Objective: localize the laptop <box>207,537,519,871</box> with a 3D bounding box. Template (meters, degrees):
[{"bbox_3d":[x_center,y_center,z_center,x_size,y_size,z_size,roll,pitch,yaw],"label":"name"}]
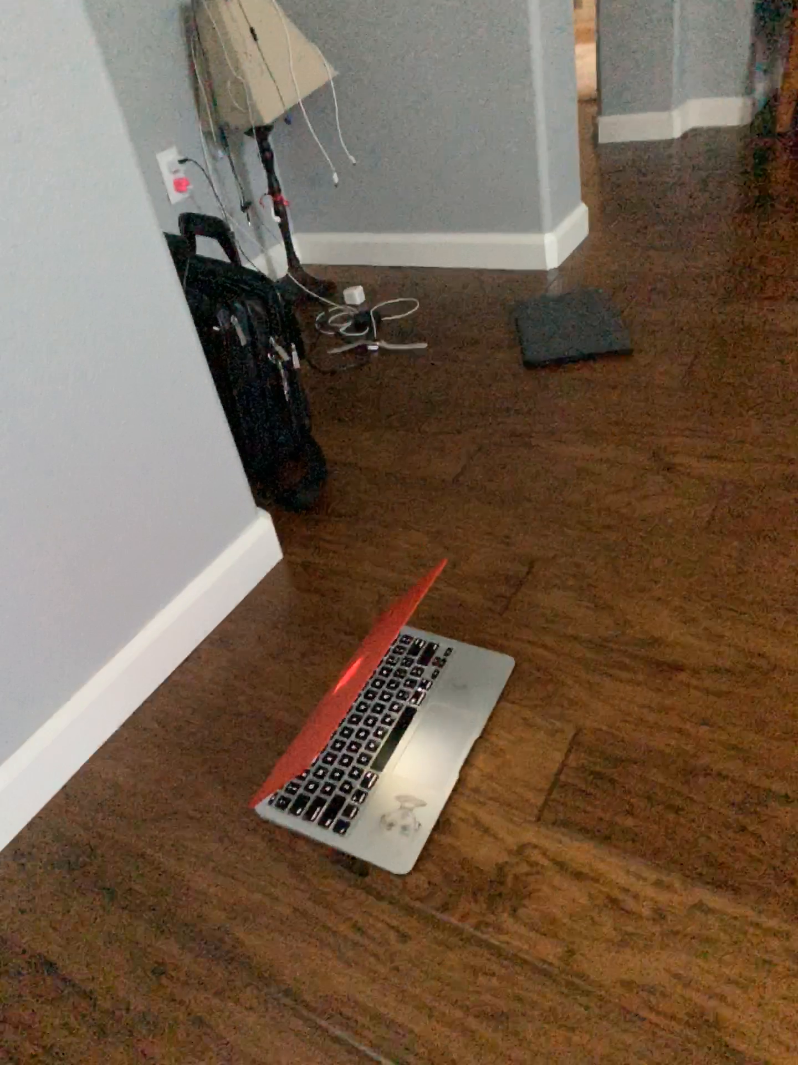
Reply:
[{"bbox_3d":[-0.020,0.164,0.886,0.198,0.139,0.303,10,40,26],"label":"laptop"}]
